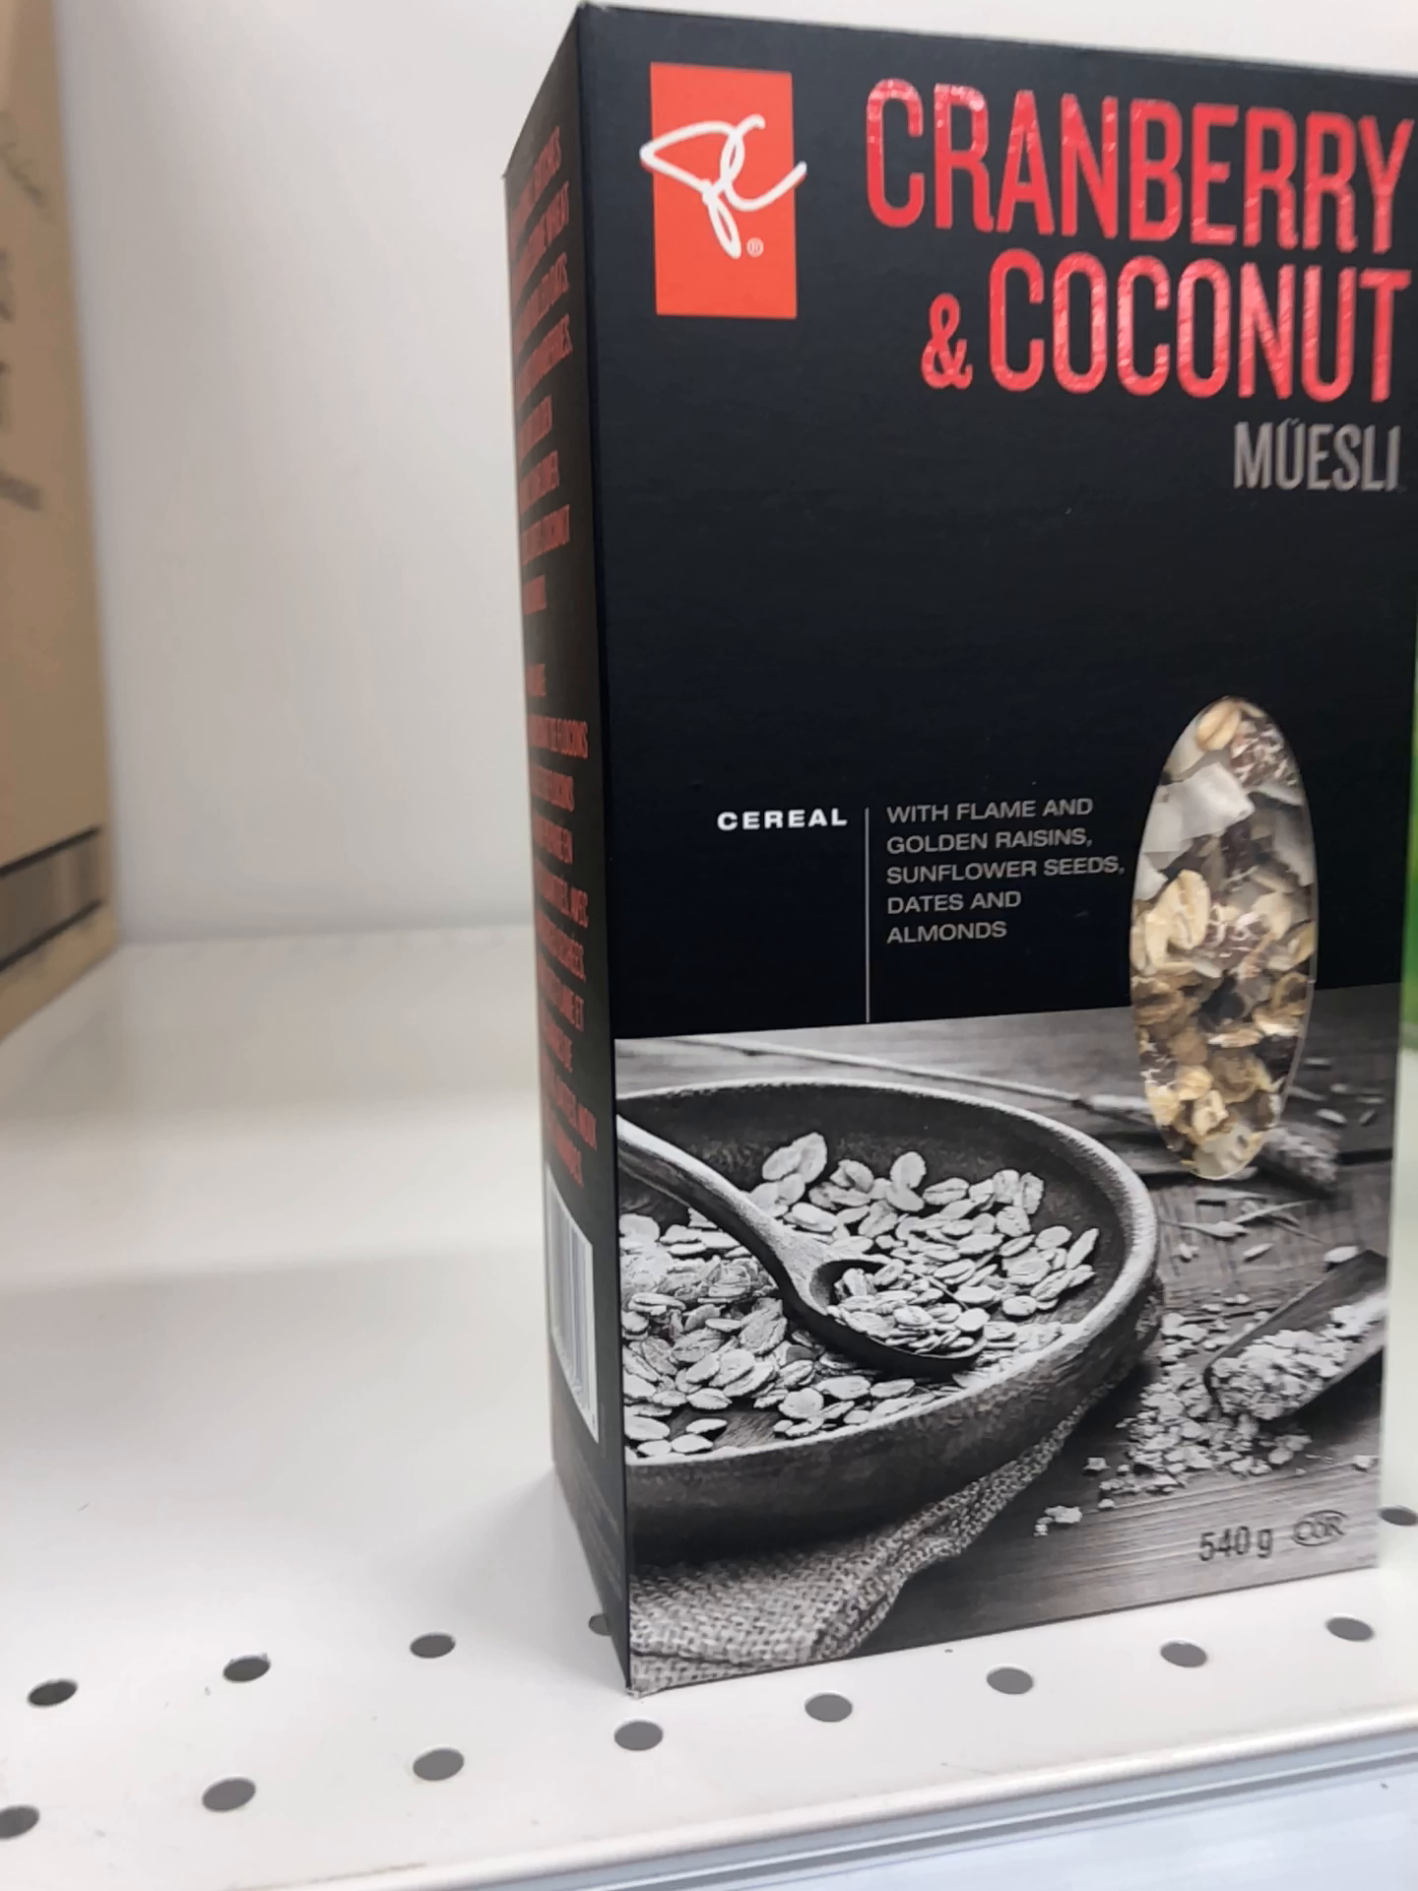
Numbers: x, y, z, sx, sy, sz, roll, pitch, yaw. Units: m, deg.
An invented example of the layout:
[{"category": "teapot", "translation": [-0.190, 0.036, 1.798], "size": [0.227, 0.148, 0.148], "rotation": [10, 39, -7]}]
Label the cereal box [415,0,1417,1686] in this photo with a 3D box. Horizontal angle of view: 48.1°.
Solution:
[{"category": "cereal box", "translation": [0.027, -0.018, 0.228], "size": [0.120, 0.200, 0.070], "rotation": [-4, 7, -14]}]
